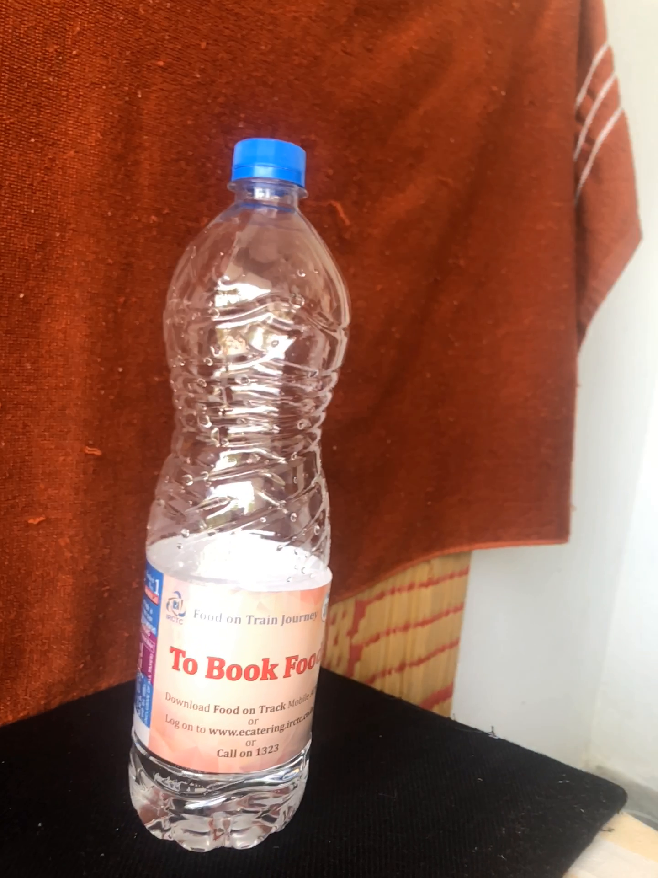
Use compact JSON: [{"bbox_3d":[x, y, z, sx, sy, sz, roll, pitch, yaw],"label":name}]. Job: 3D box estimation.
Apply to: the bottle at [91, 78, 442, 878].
[{"bbox_3d":[-0.032,0.022,0.296,0.090,0.280,0.070,6,6,-22],"label":"bottle"}]
